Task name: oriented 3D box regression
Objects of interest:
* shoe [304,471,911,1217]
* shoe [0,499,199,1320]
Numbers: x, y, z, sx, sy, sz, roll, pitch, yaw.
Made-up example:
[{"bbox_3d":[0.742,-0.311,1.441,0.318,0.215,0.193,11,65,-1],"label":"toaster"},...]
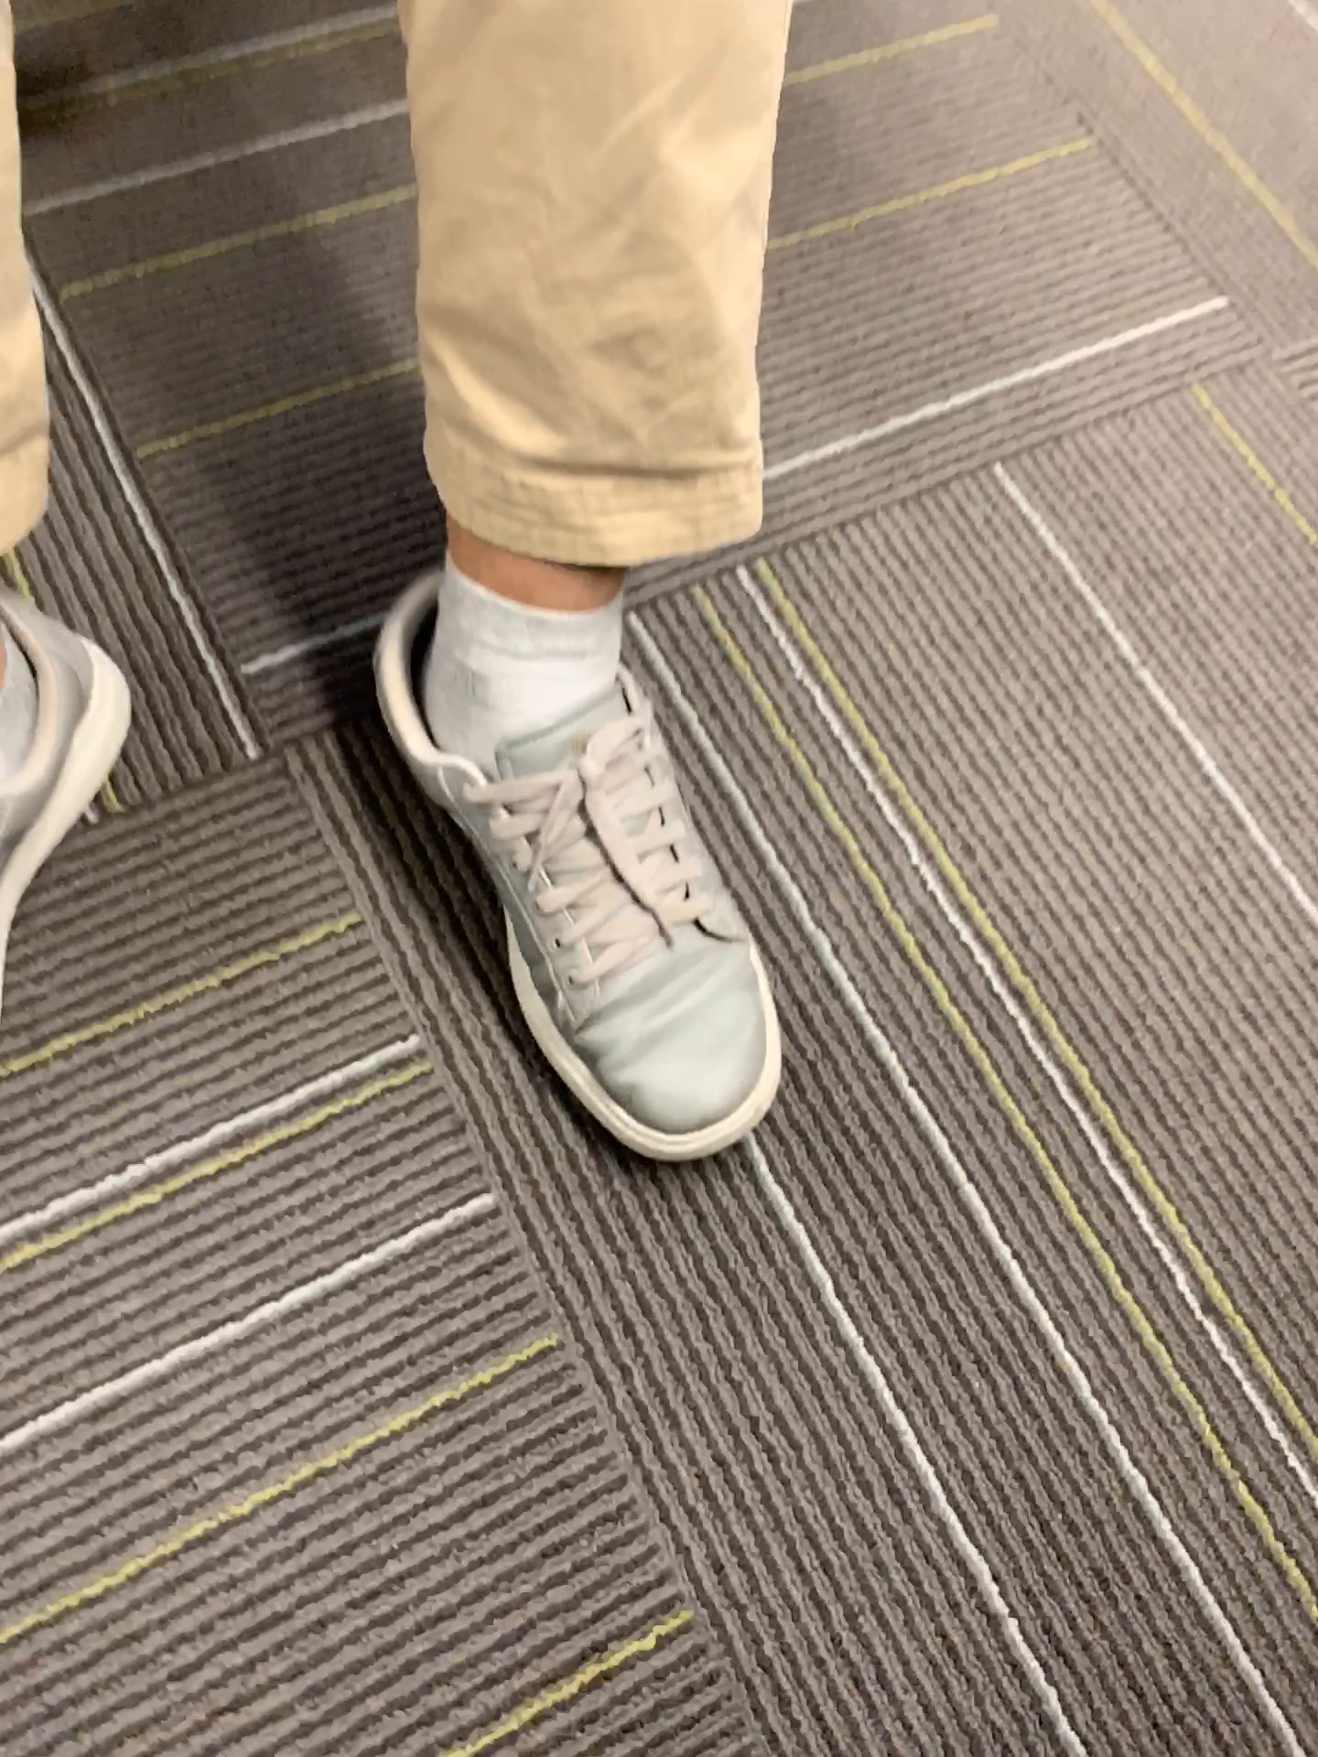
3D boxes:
[{"bbox_3d":[-0.031,-0.017,0.587,0.120,0.110,0.280,-26,73,-16],"label":"shoe"},{"bbox_3d":[-0.309,0.015,0.537,0.120,0.140,0.270,17,67,1],"label":"shoe"}]
